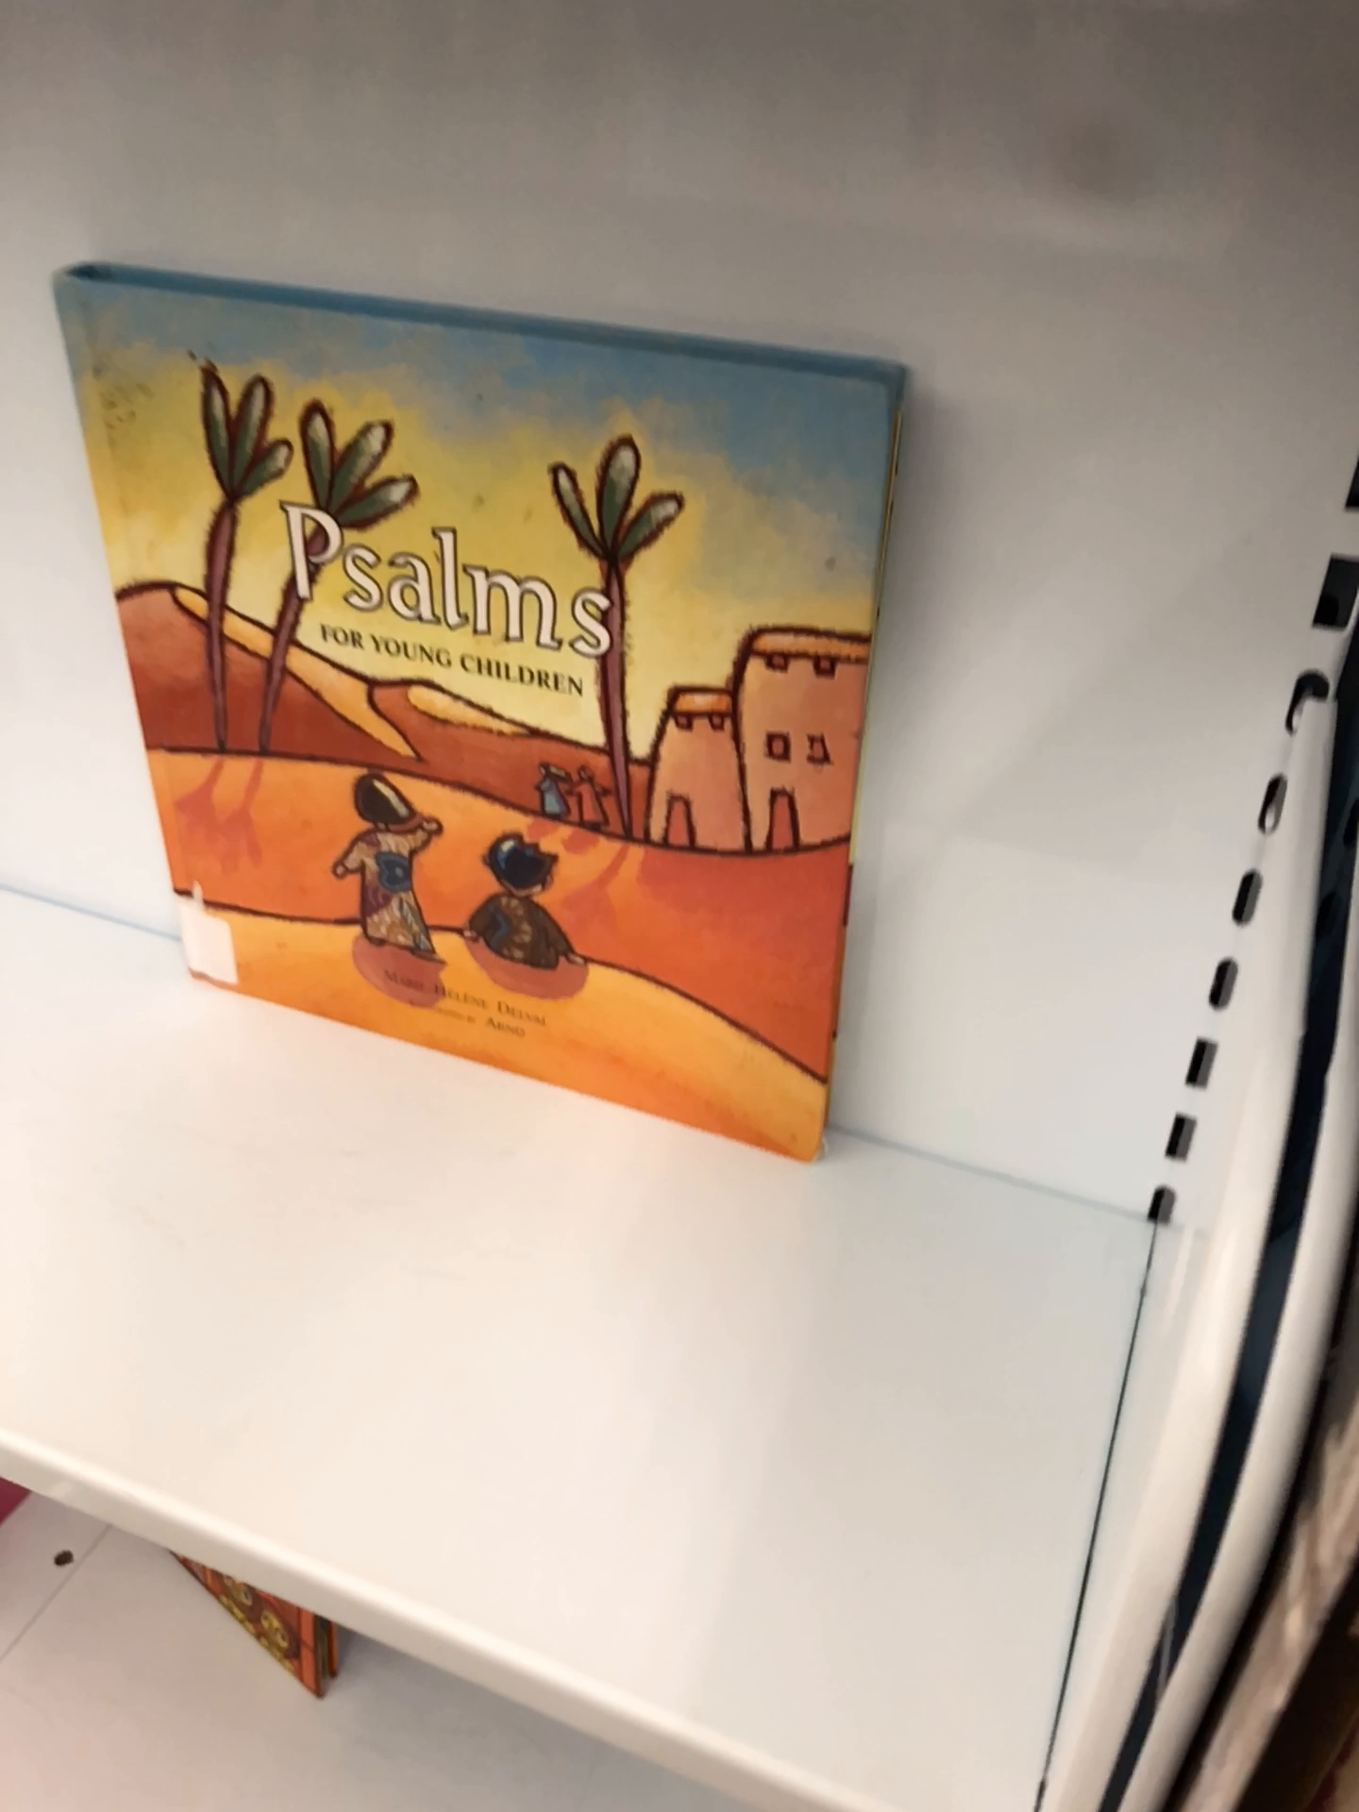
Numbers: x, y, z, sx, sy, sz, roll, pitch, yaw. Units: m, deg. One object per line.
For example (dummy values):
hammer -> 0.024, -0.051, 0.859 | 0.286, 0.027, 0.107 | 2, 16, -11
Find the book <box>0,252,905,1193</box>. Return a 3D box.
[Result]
book -> -0.061, -0.041, 0.379 | 0.212, 0.205, 0.021 | 15, 35, 18
